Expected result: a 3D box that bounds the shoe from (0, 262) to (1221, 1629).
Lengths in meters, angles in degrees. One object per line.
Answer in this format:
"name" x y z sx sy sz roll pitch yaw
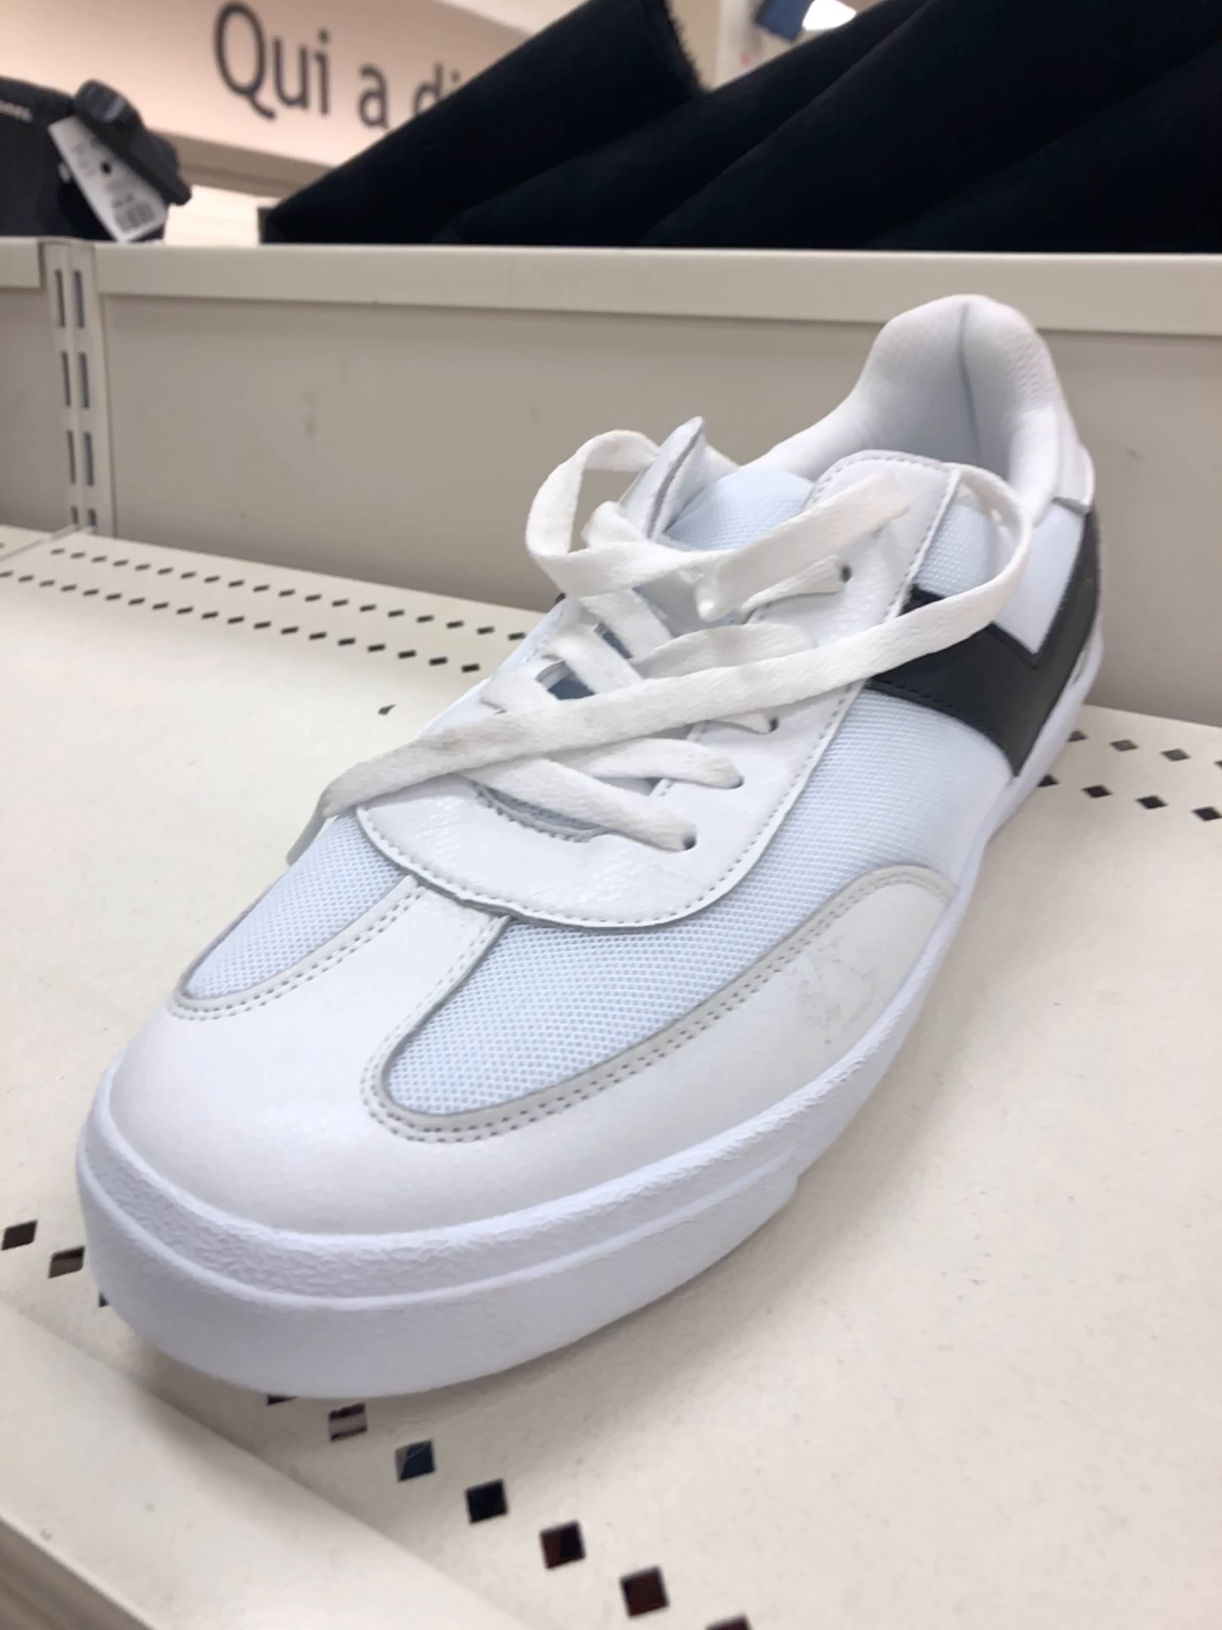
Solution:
"shoe" 0.053 -0.041 0.288 0.113 0.129 0.372 16 29 34
